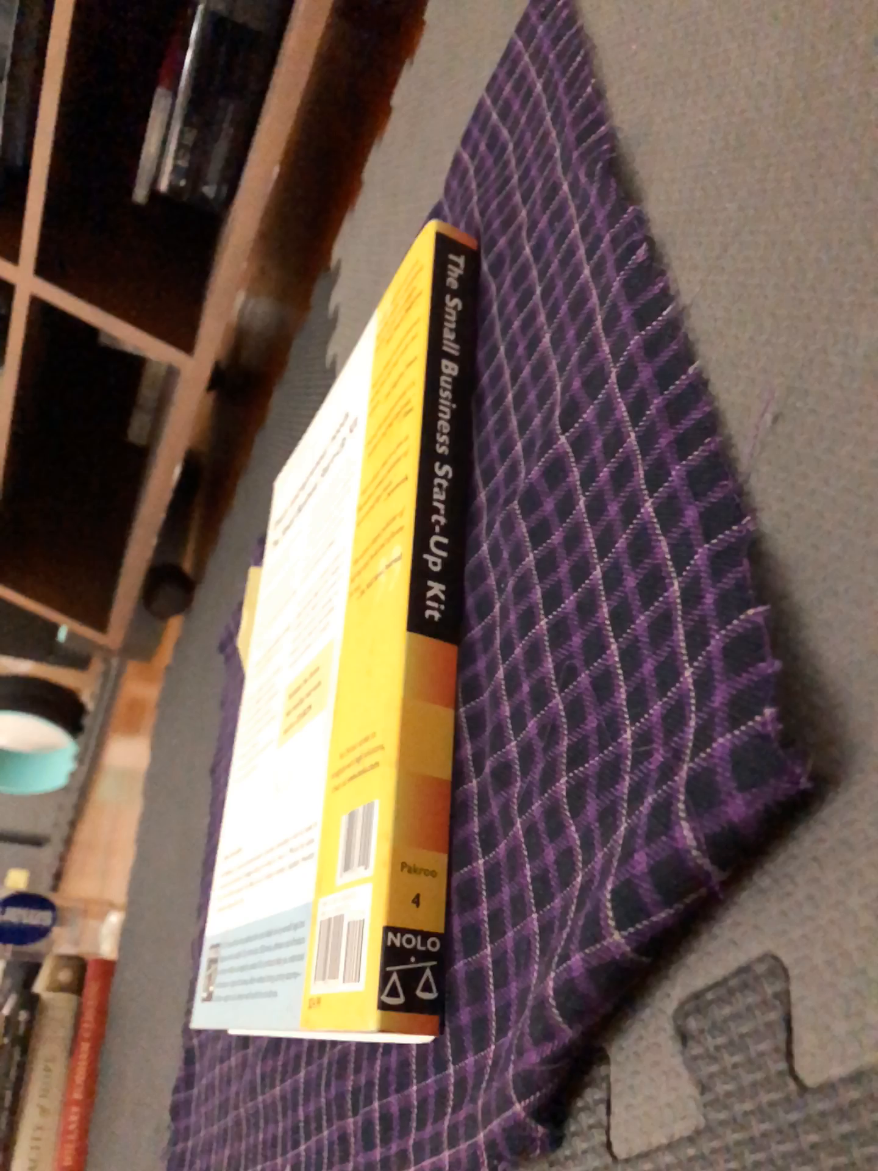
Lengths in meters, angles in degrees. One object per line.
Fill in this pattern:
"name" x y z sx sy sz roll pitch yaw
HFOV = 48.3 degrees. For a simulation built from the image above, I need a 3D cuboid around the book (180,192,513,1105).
"book" -0.043 0.033 0.412 0.231 0.030 0.310 139 141 -56
